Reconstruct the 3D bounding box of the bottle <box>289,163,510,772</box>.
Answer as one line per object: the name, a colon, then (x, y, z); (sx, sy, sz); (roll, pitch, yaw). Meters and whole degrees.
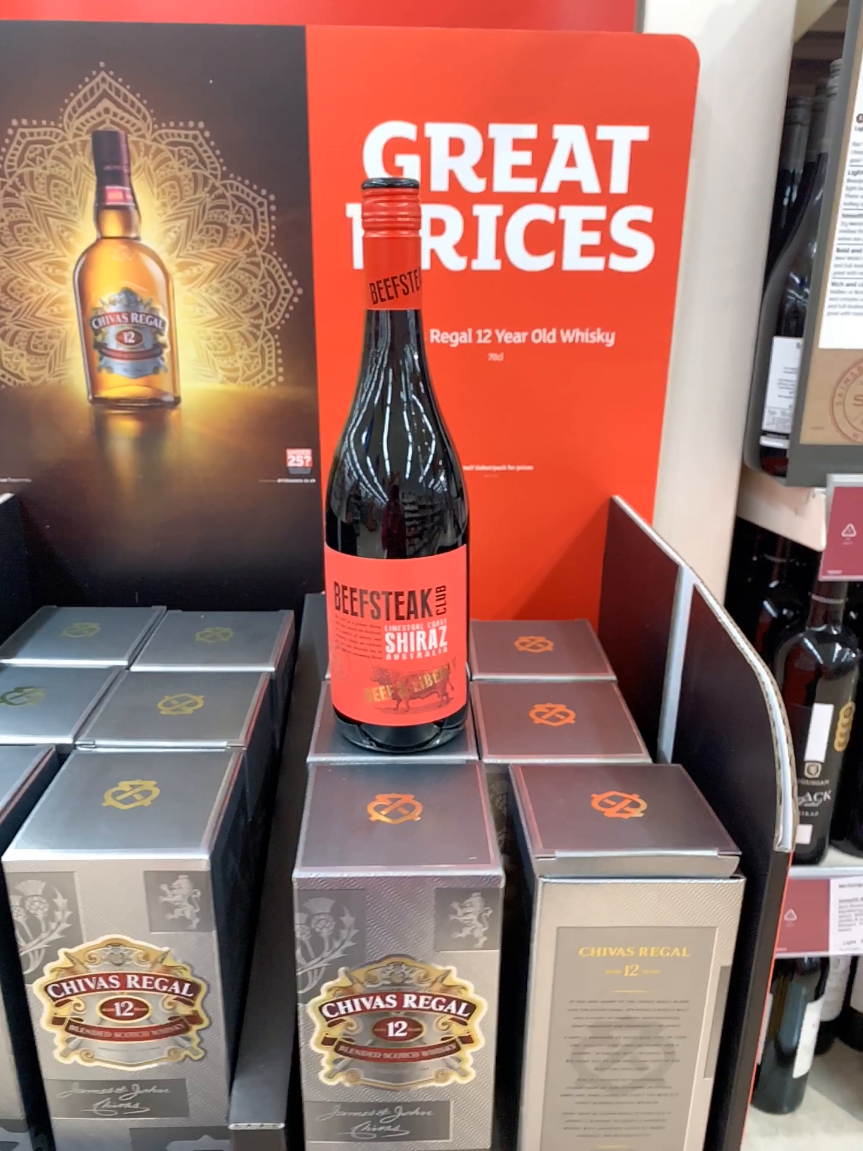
bottle: (-0.013, -0.051, 0.454); (0.083, 0.284, 0.081); (1, 20, 0)
